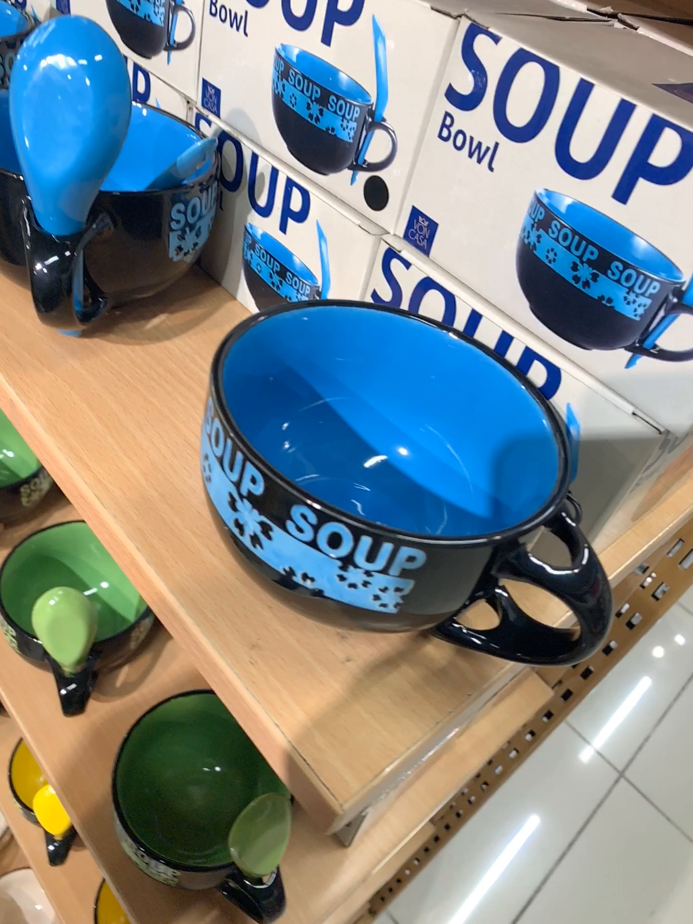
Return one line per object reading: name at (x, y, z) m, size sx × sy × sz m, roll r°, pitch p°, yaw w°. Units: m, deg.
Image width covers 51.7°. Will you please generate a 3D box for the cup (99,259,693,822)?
cup at (0.013, 0.009, 0.226) m, size 0.150 × 0.060 × 0.100 m, roll 36°, pitch 44°, yaw 19°
